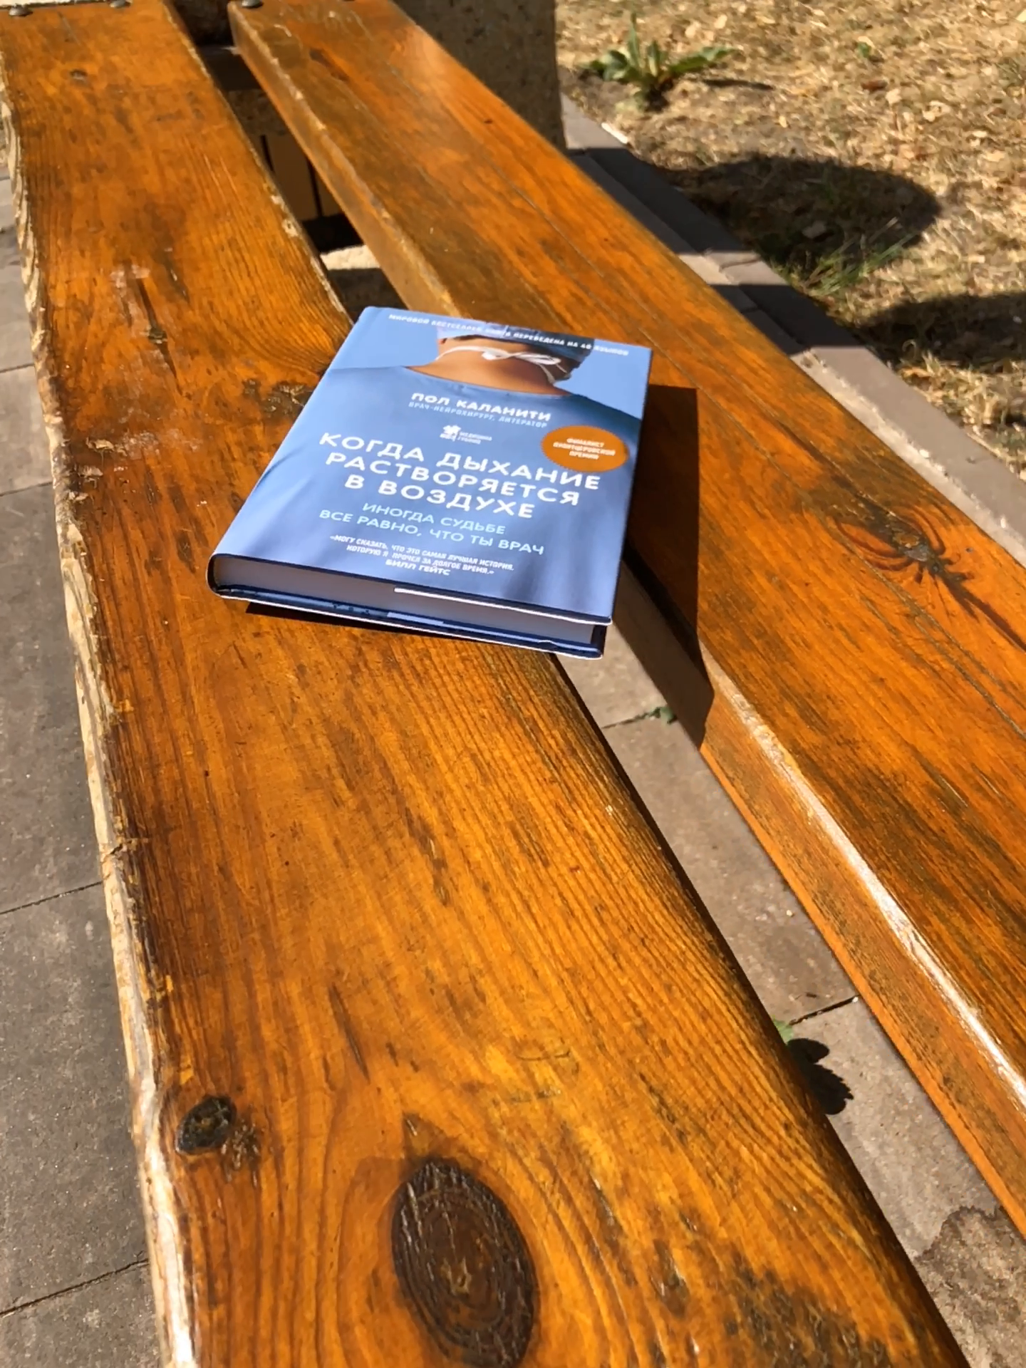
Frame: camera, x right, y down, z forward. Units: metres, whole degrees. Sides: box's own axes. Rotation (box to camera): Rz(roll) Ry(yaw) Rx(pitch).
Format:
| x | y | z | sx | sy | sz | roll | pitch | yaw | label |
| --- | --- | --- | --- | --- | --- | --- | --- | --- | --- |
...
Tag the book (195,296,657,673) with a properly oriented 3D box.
| x | y | z | sx | sy | sz | roll | pitch | yaw | label |
| --- | --- | --- | --- | --- | --- | --- | --- | --- | --- |
| -0.021 | -0.094 | 0.462 | 0.140 | 0.025 | 0.211 | 10 | 42 | 5 | book |
